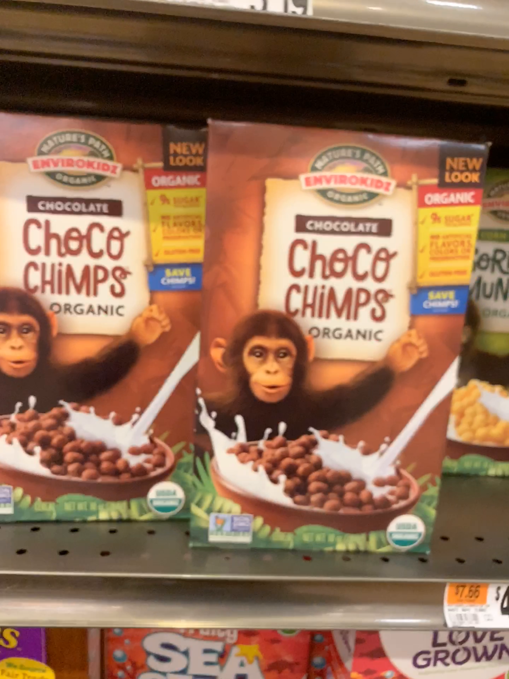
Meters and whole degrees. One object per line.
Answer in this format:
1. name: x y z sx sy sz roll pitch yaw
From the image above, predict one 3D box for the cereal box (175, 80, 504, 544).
1. cereal box: 0.042 -0.008 0.347 0.170 0.269 0.060 4 12 -4
